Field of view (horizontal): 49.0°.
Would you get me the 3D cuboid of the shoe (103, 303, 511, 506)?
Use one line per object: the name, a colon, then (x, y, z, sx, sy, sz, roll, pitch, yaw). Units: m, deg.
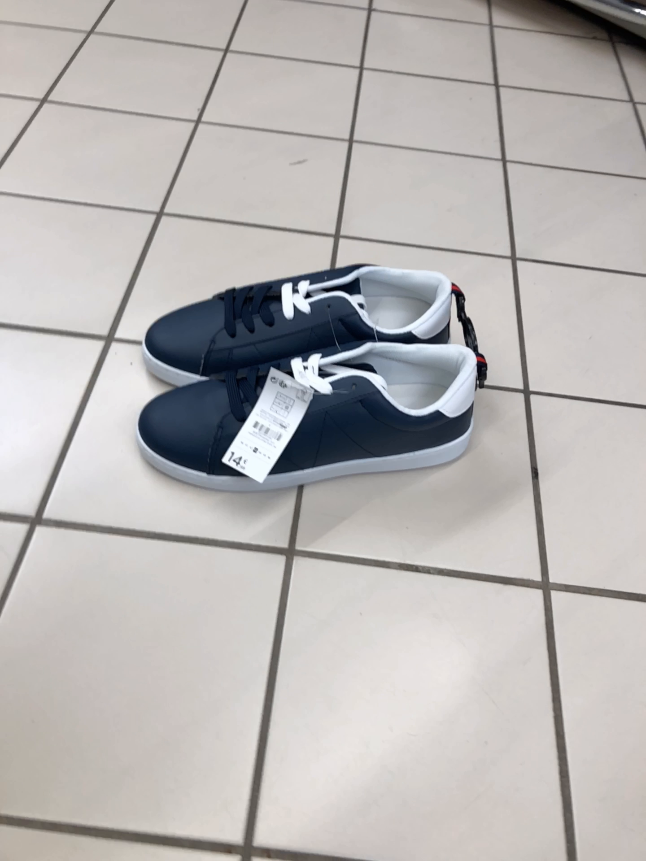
shoe: (-0.016, -0.023, 0.567, 0.290, 0.099, 0.100, -5, 53, -9)

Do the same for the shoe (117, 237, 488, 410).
shoe: (-0.020, -0.095, 0.620, 0.290, 0.099, 0.100, -3, 52, -8)
